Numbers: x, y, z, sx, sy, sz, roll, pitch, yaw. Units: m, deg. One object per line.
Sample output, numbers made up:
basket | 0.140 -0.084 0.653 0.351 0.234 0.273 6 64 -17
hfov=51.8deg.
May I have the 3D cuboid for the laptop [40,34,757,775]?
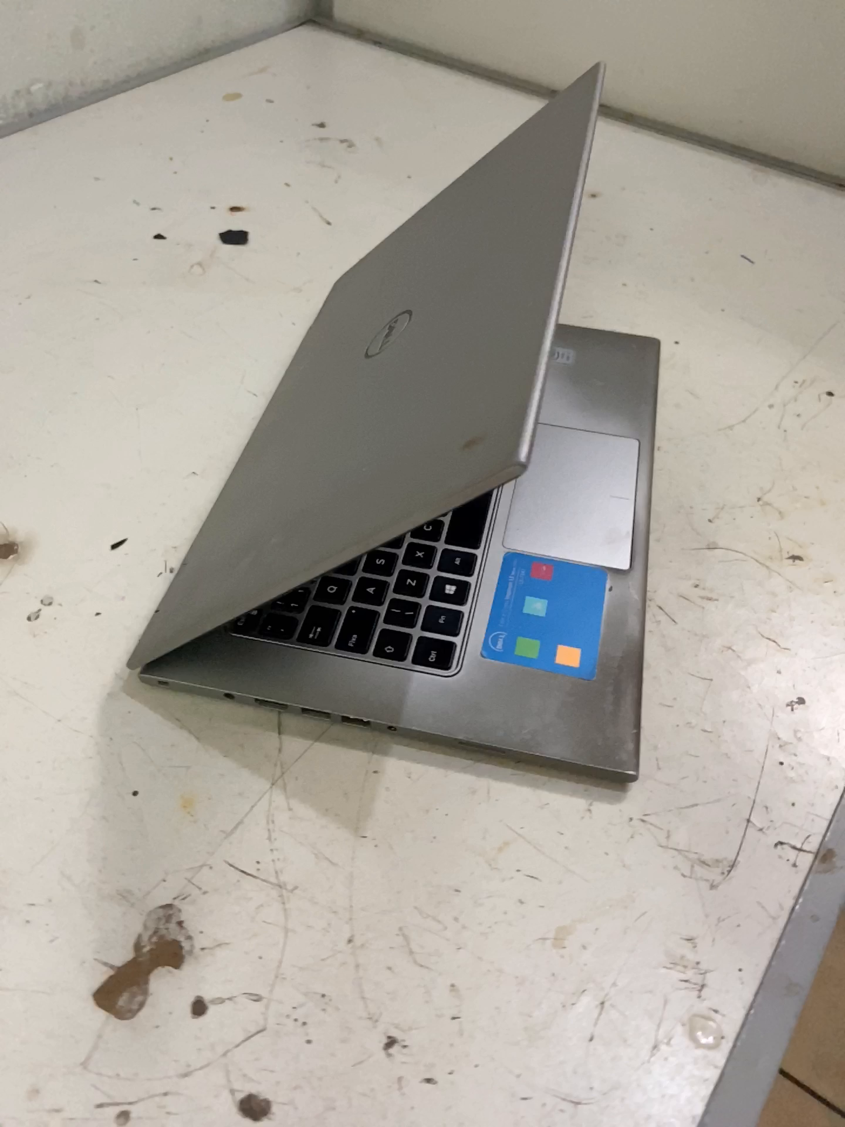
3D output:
laptop | 0.018 -0.105 0.422 0.218 0.155 0.328 10 48 6
